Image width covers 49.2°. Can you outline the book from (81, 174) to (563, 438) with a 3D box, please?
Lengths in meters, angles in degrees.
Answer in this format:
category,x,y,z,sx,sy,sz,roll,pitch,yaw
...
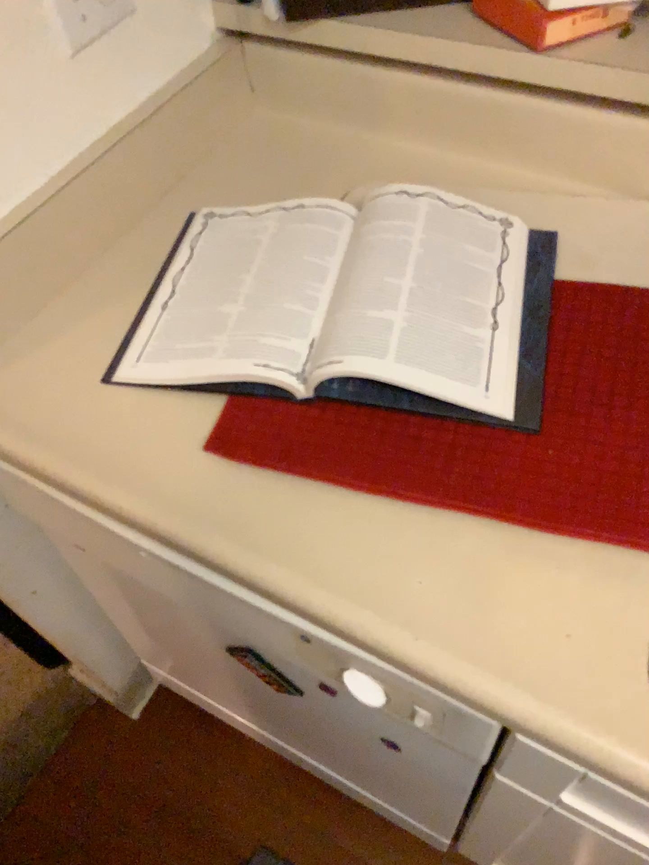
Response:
category,x,y,z,sx,sy,sz,roll,pitch,yaw
book,0.013,-0.153,0.757,0.450,0.060,0.290,7,55,11
